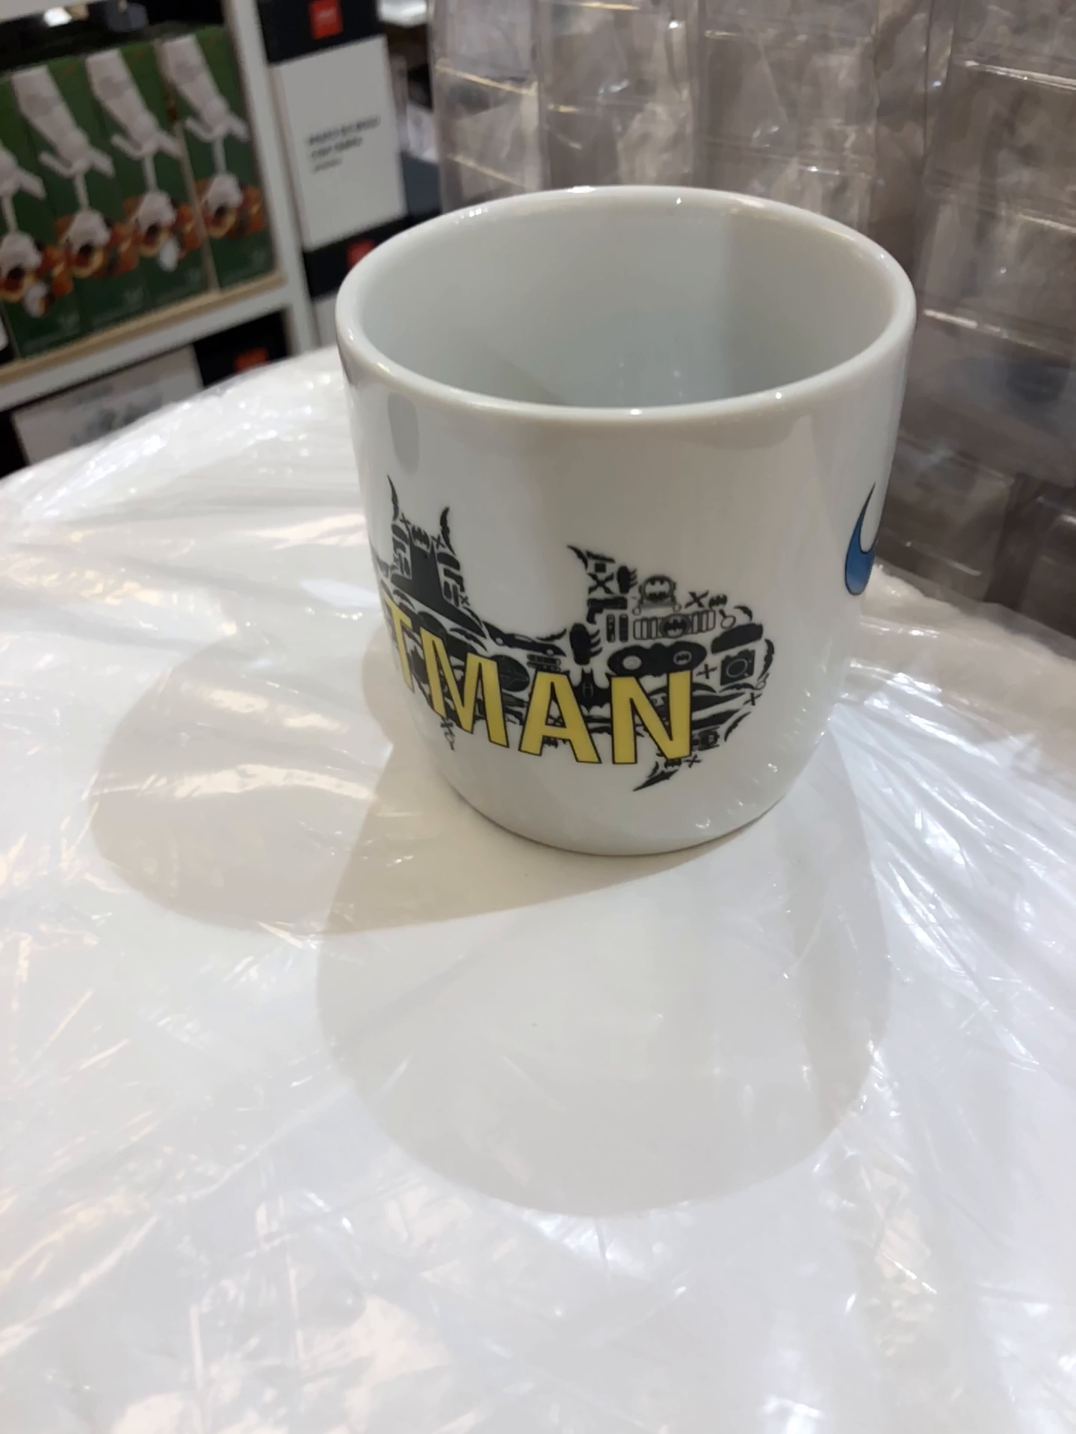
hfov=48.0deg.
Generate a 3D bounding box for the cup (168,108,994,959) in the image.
[{"bbox_3d":[0.001,-0.040,0.215,0.080,0.089,0.111,-23,45,-21],"label":"cup"}]
